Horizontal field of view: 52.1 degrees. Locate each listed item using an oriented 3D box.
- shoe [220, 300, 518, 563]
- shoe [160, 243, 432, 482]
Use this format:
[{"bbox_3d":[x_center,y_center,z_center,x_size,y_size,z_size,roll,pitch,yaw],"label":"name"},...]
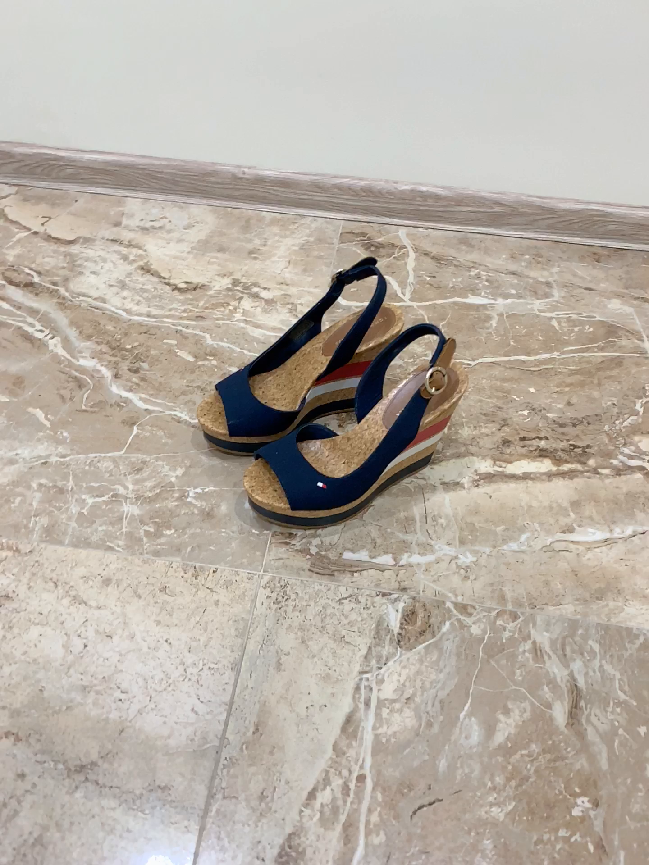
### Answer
[{"bbox_3d":[0.032,-0.002,0.560,0.210,0.145,0.090,-19,52,-19],"label":"shoe"},{"bbox_3d":[-0.026,-0.066,0.612,0.210,0.145,0.090,-19,52,-19],"label":"shoe"}]
